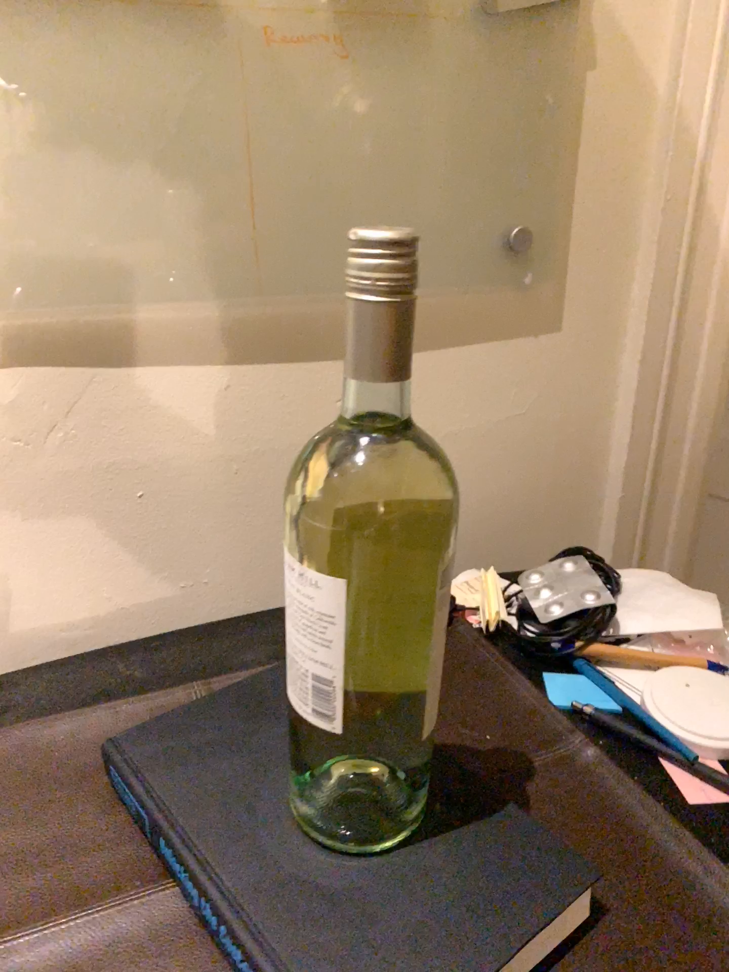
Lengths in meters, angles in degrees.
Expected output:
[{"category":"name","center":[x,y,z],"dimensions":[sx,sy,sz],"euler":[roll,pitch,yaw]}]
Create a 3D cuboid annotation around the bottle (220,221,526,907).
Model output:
[{"category":"bottle","center":[-0.002,0.037,0.355],"dimensions":[0.090,0.298,0.090],"euler":[0,22,0]}]
